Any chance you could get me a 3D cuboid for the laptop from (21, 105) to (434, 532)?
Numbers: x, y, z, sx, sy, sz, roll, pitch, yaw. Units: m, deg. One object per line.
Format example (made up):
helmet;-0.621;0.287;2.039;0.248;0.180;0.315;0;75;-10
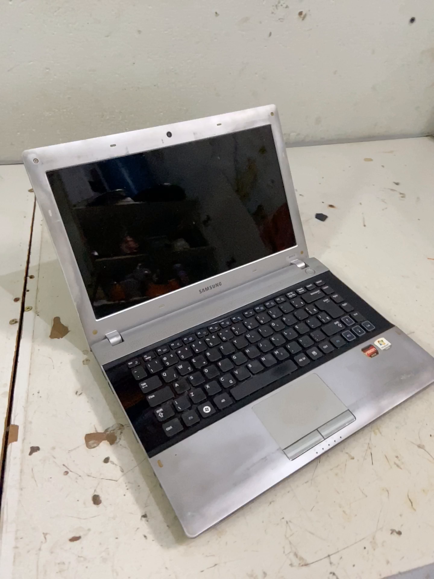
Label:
laptop;0.029;-0.028;0.494;0.342;0.180;0.367;-21;47;-25
